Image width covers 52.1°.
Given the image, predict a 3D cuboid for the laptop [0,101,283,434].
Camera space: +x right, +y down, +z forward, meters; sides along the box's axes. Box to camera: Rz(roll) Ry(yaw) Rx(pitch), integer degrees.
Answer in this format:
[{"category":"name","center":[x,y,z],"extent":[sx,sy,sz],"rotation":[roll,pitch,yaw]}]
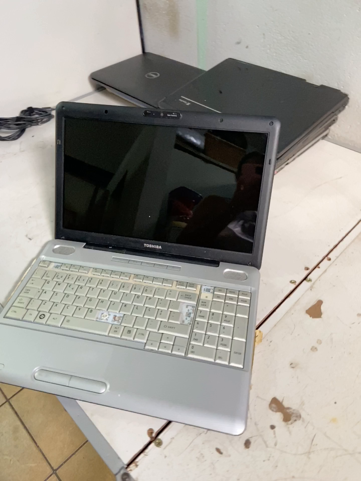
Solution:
[{"category":"laptop","center":[-0.066,-0.008,0.529],"extent":[0.370,0.191,0.401],"rotation":[7,46,12]}]
